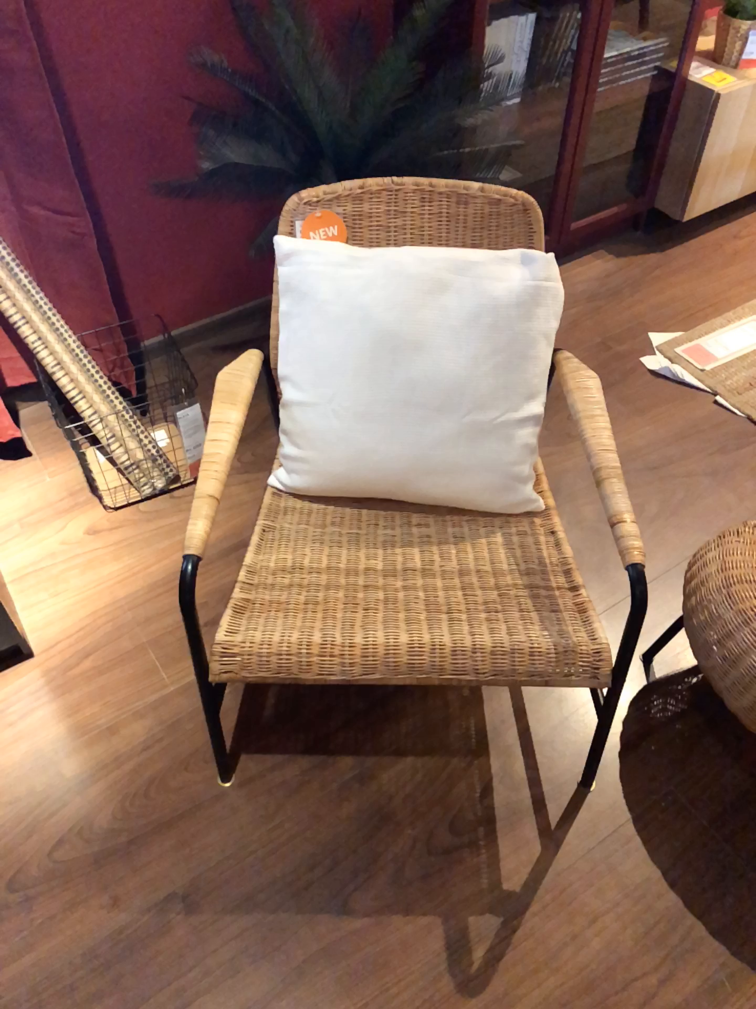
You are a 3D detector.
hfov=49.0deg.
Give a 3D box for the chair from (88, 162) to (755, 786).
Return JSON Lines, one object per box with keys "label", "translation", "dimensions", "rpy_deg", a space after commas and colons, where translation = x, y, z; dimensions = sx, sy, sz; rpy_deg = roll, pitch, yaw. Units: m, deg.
{"label": "chair", "translation": [0.054, -0.034, 1.288], "dimensions": [0.670, 0.705, 0.664], "rpy_deg": [0, 48, 0]}
